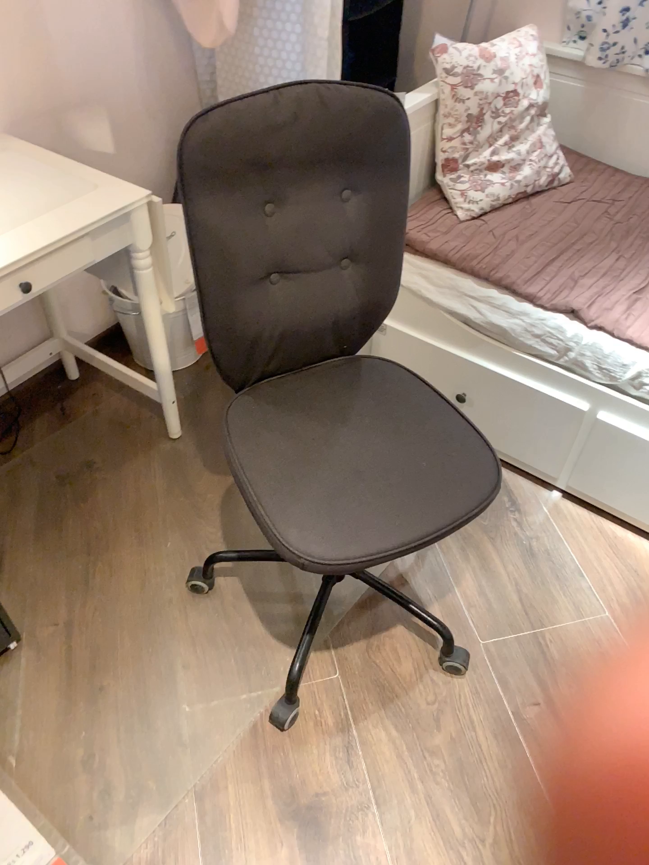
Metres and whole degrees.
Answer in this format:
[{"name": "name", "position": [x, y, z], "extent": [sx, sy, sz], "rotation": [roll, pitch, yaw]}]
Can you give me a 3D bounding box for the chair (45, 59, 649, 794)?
[{"name": "chair", "position": [0.045, -0.009, 1.208], "extent": [0.651, 0.947, 0.732], "rotation": [-22, 51, -23]}]
